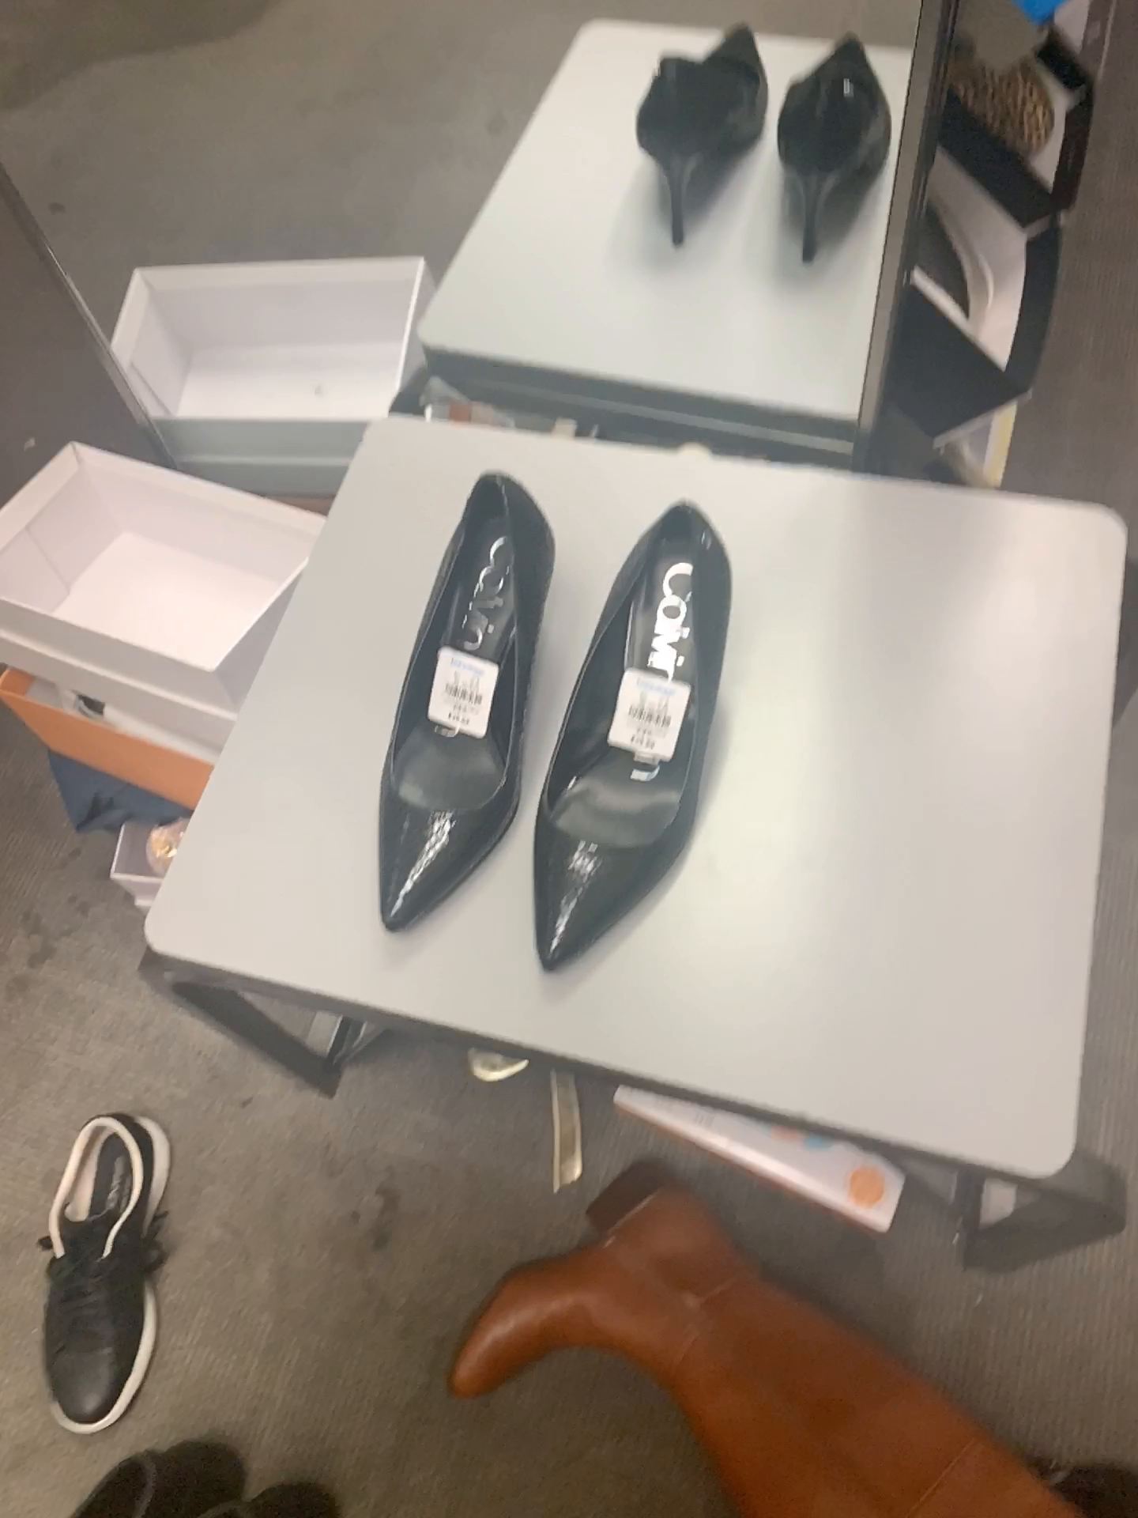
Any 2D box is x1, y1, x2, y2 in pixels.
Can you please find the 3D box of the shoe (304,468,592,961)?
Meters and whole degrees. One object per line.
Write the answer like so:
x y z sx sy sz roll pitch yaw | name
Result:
-0.056 -0.030 0.635 0.080 0.085 0.254 7 63 12 | shoe

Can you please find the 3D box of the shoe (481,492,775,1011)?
0.040 -0.010 0.611 0.080 0.084 0.254 12 65 14 | shoe
